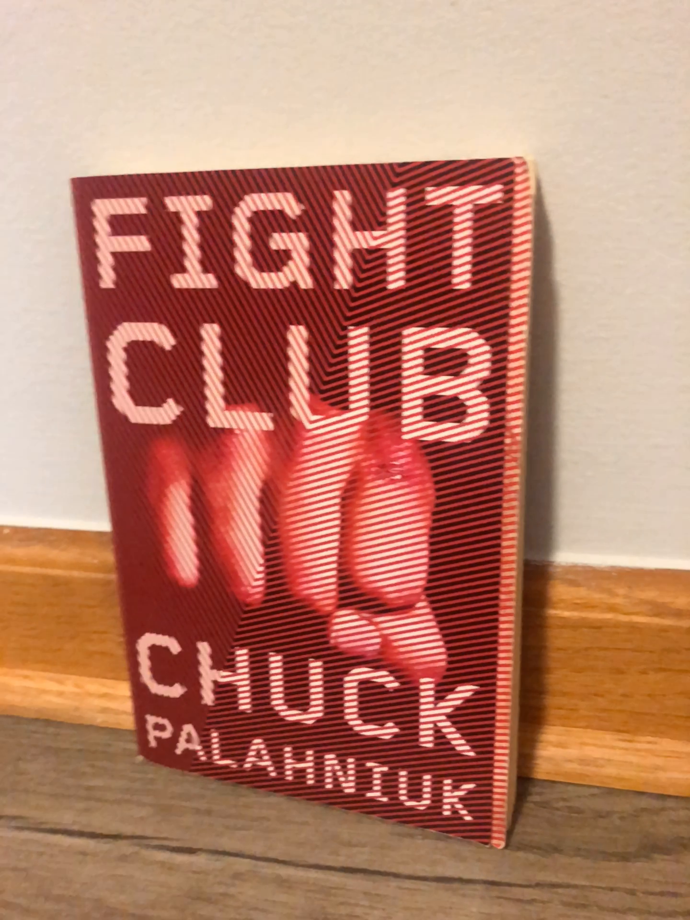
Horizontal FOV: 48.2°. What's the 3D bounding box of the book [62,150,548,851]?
[{"bbox_3d":[-0.012,0.015,0.253,0.138,0.210,0.030,5,18,18],"label":"book"}]
